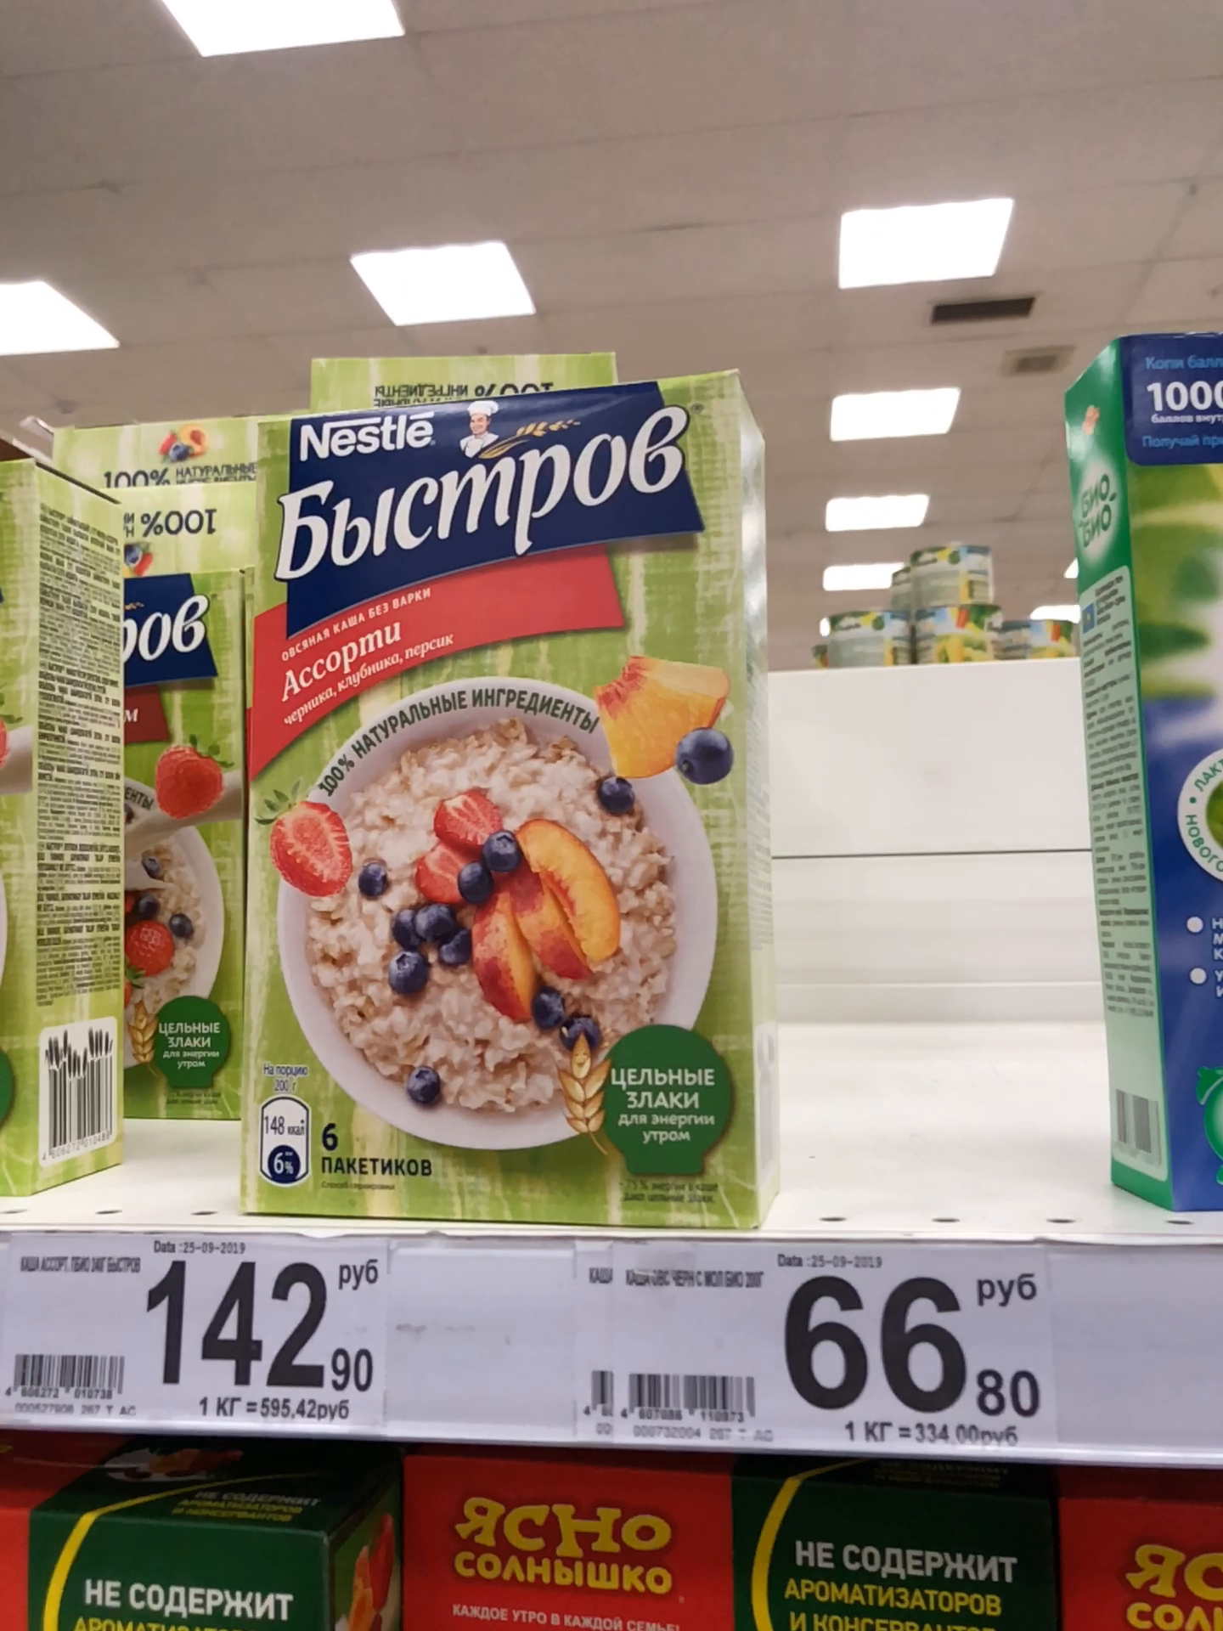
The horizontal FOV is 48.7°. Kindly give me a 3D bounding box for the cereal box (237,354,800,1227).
[{"bbox_3d":[-0.022,-0.005,0.347,0.130,0.200,0.050,-2,-7,14],"label":"cereal box"}]
